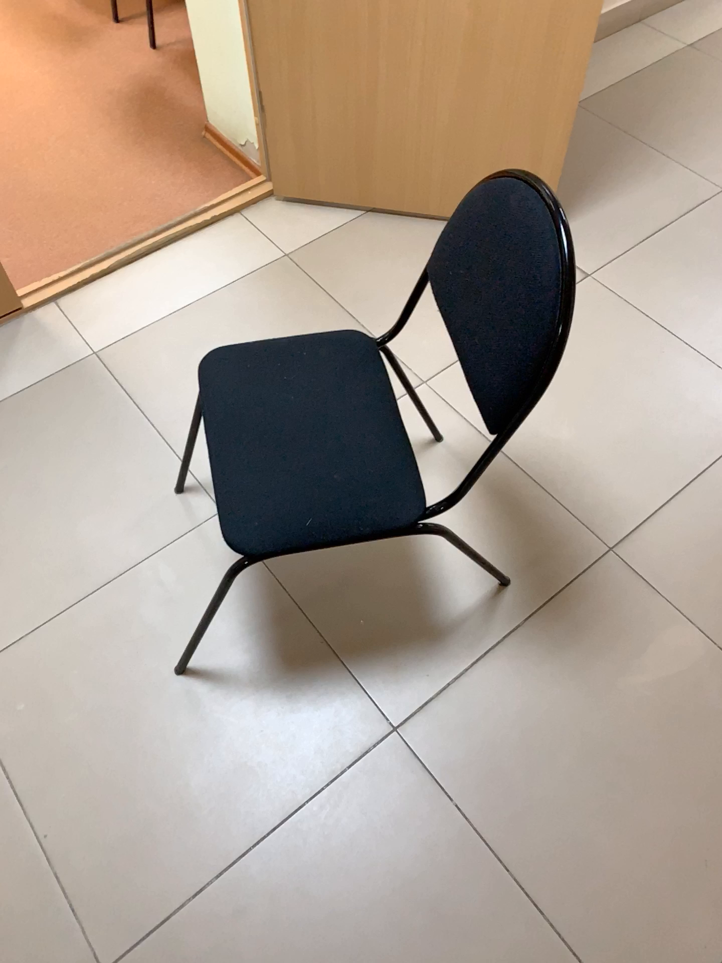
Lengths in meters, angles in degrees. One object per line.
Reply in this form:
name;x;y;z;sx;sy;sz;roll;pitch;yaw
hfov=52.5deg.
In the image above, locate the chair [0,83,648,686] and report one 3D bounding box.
chair;-0.087;-0.091;1.176;0.690;0.775;0.483;-9;57;-6
